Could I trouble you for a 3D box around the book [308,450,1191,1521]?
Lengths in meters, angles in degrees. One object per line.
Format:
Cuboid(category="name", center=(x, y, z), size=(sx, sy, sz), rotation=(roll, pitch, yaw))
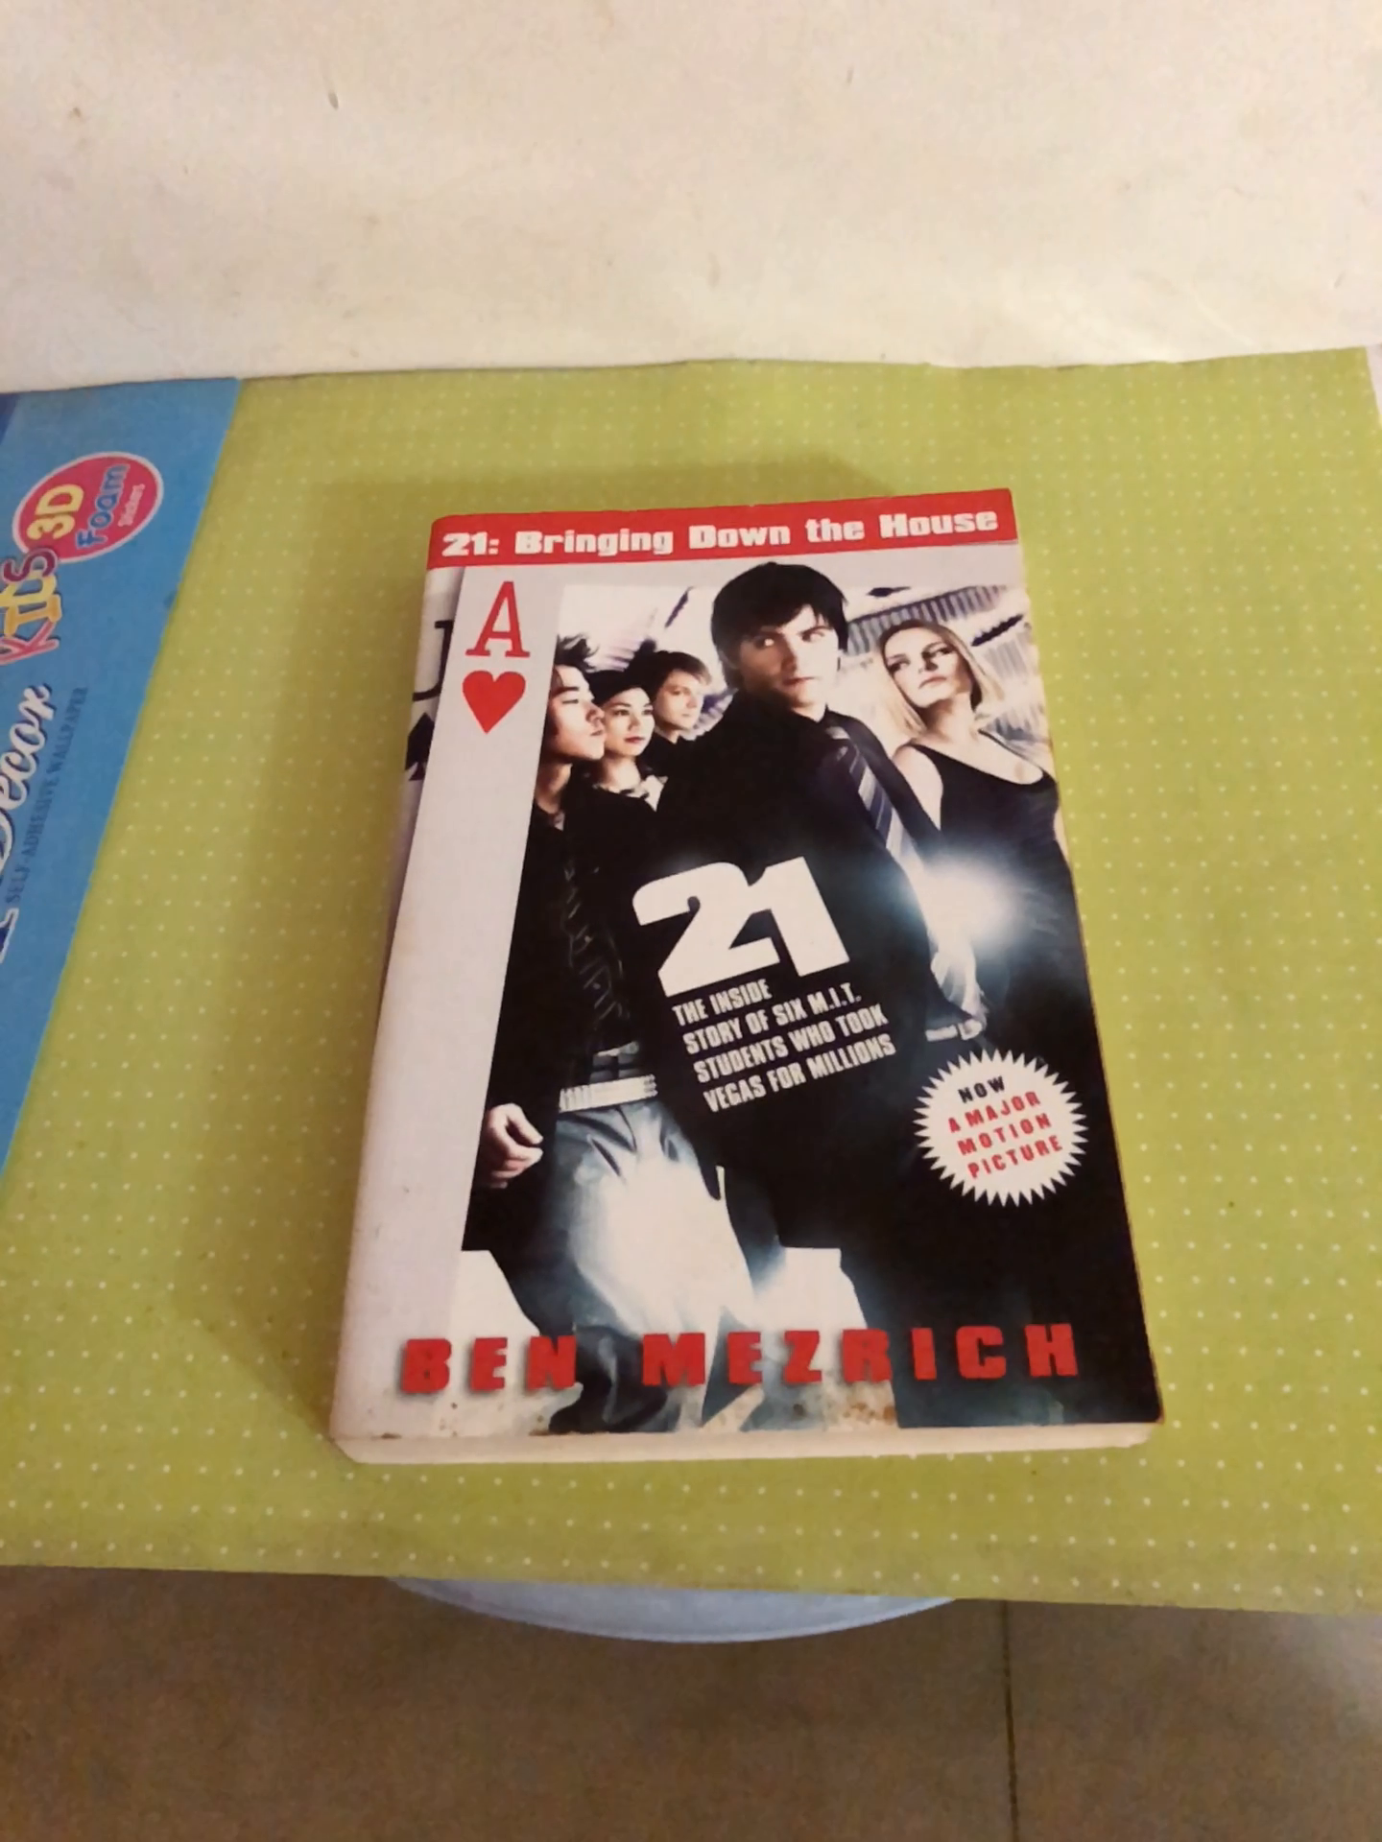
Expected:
Cuboid(category="book", center=(0.008, 0.000, 0.299), size=(0.130, 0.040, 0.211), rotation=(-2, 58, 2))
